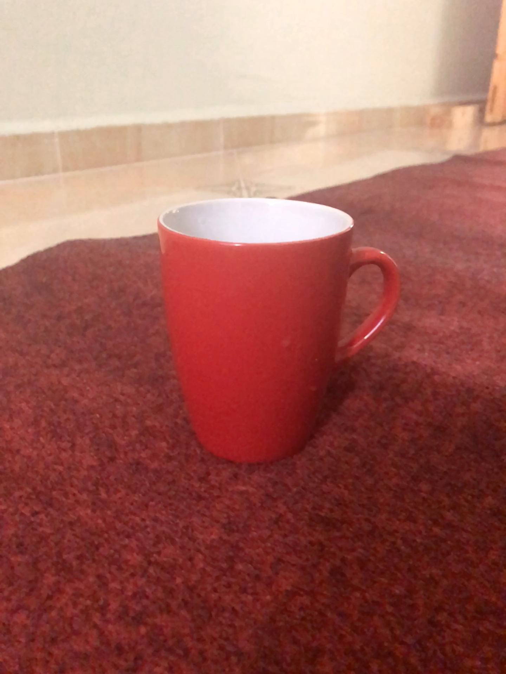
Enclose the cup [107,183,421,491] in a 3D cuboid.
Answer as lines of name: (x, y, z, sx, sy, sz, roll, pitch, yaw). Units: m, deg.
cup: (0.006, -0.011, 0.257, 0.109, 0.094, 0.078, -21, 32, -38)
